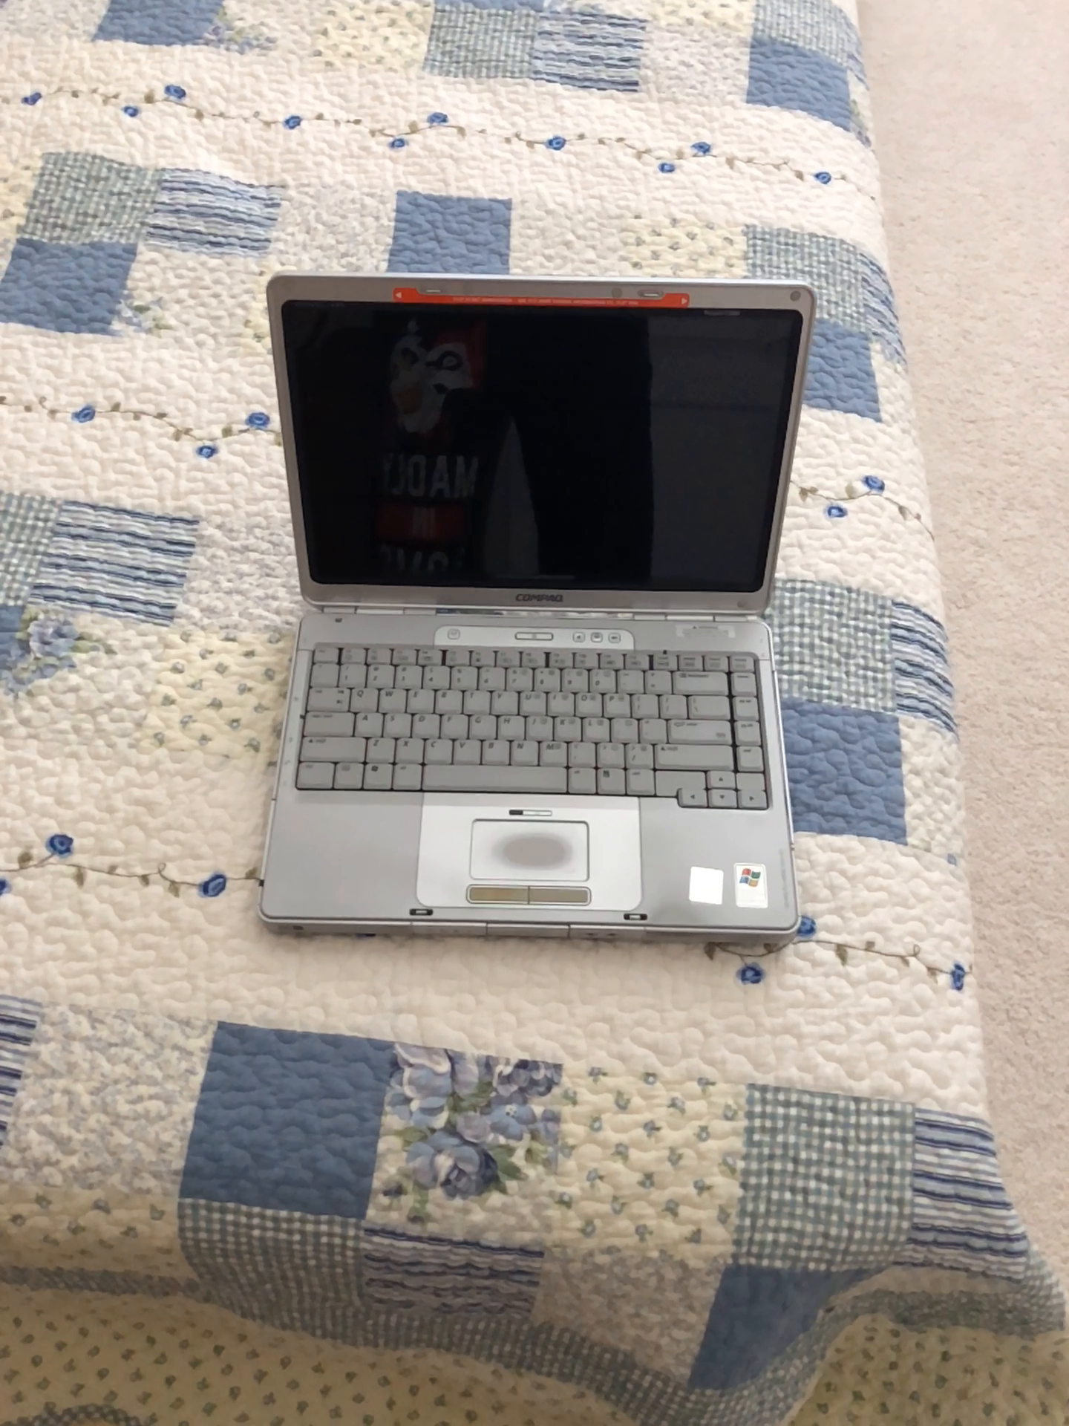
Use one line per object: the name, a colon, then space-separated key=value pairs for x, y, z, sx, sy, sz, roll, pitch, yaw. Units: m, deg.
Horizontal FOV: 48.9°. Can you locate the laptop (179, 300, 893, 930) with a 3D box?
laptop: x=0.001 y=-0.058 z=0.701 sx=0.322 sy=0.193 sz=0.327 roll=1 pitch=60 yaw=0
